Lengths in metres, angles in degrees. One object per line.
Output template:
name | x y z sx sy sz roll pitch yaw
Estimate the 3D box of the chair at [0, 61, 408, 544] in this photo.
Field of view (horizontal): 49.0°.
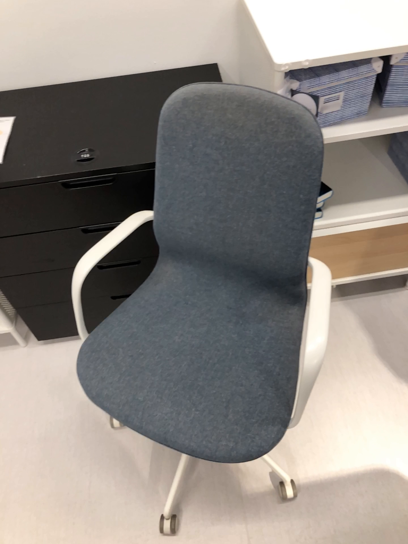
chair | -0.038 0.184 1.082 0.701 0.995 0.703 13 54 15
